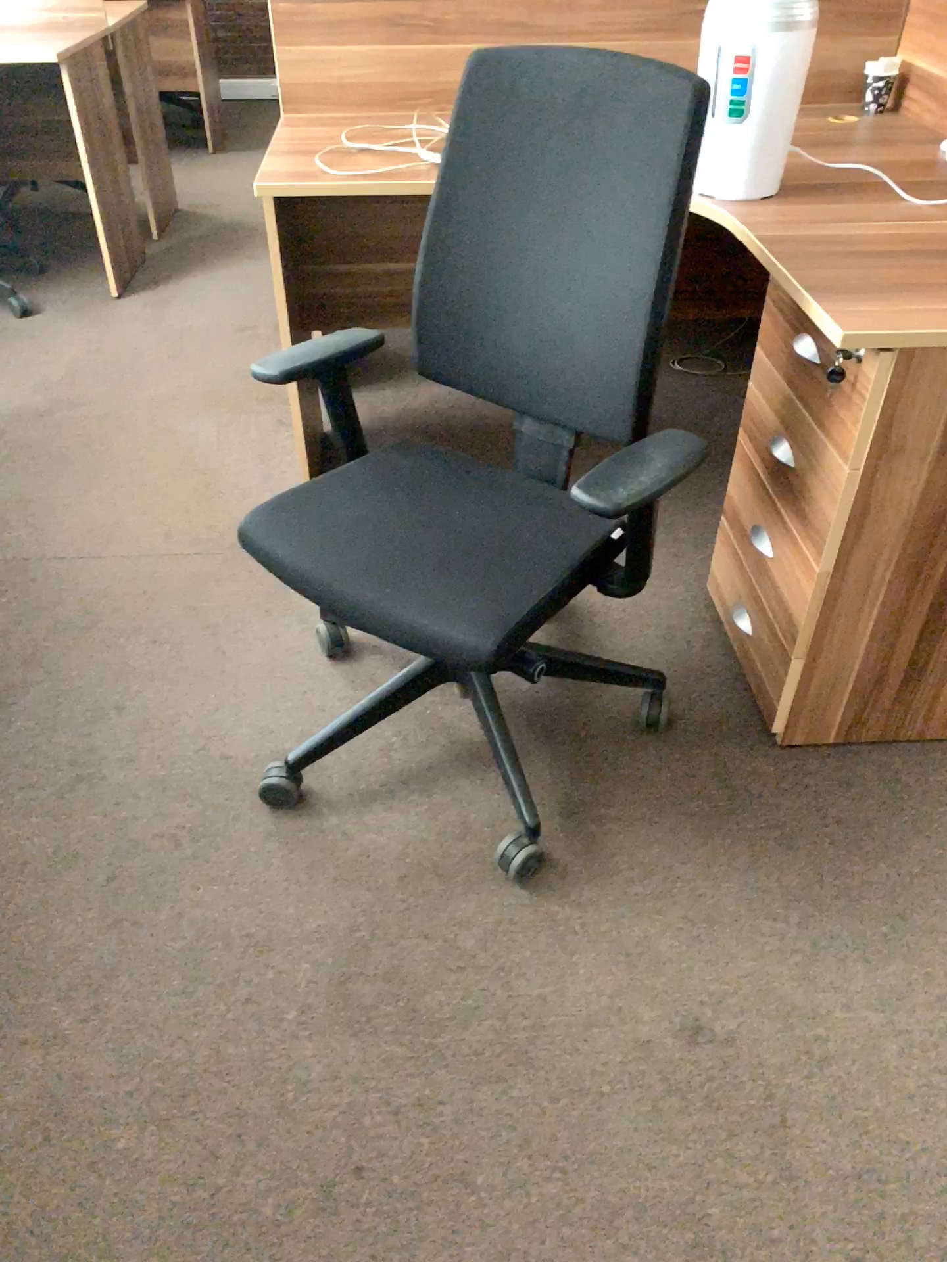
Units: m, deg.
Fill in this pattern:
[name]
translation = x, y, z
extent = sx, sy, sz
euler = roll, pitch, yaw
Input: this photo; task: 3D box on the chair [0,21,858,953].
[chair]
translation = -0.038, -0.263, 1.373
extent = 0.671, 0.915, 0.792
euler = 26, 45, 29
